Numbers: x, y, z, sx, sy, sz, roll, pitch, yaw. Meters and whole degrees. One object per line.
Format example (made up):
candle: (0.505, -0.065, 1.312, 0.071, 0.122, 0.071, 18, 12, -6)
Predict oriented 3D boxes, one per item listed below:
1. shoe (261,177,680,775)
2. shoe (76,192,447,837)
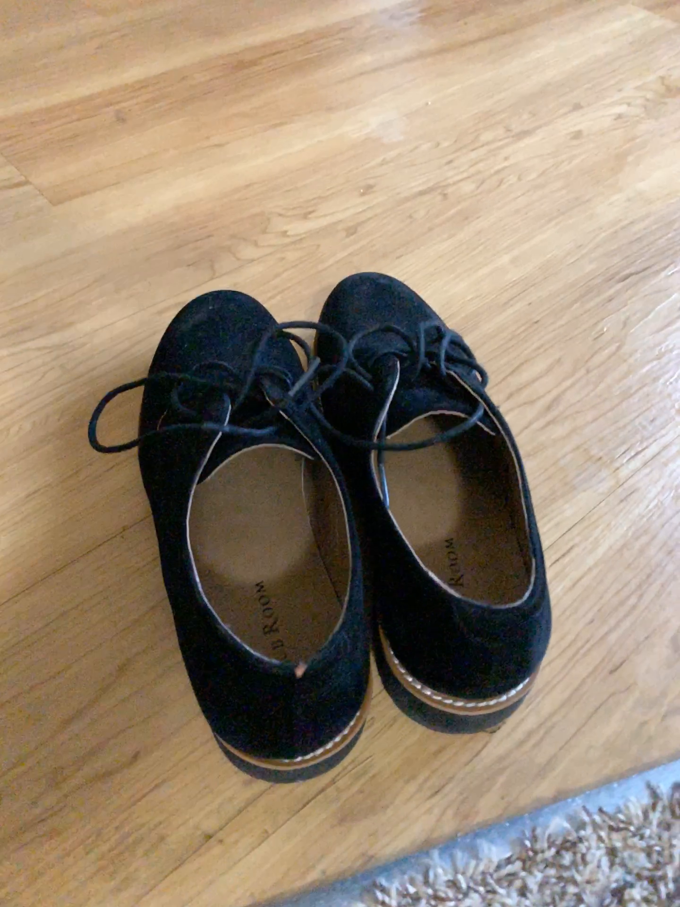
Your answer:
shoe: (0.037, -0.021, 0.352, 0.110, 0.070, 0.311, -8, 52, -9)
shoe: (-0.058, -0.005, 0.337, 0.100, 0.070, 0.311, -11, 53, -12)
